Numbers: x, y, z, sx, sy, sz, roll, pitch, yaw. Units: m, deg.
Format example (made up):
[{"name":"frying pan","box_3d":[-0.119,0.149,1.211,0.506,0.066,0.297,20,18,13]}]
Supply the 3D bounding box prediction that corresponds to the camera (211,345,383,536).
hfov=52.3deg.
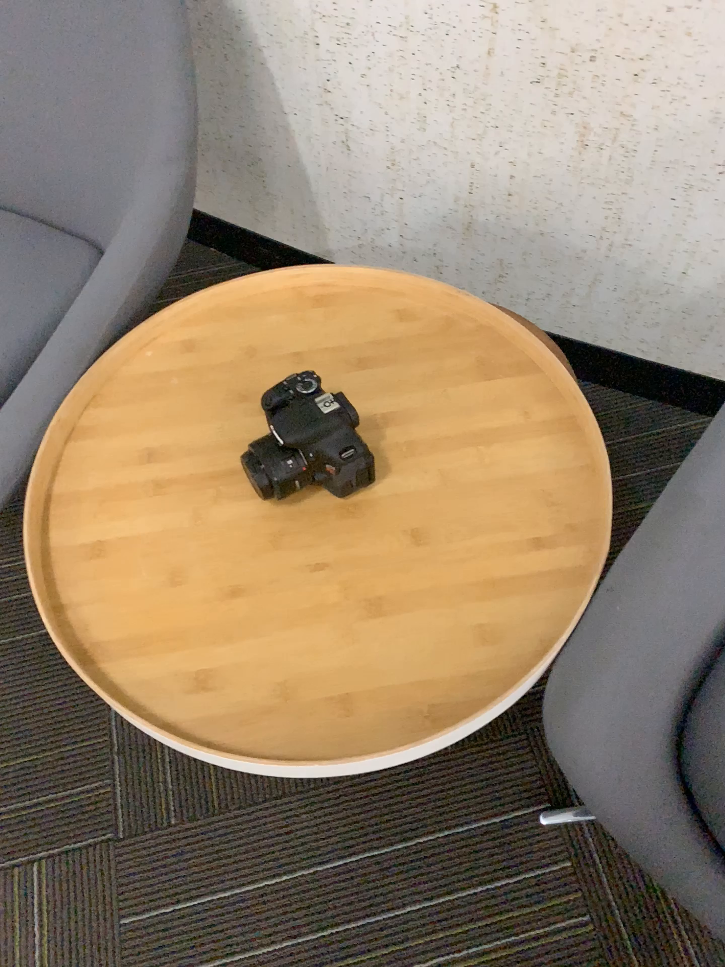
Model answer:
[{"name":"camera","box_3d":[-0.065,-0.045,0.760,0.119,0.090,0.134,-28,62,-13]}]
